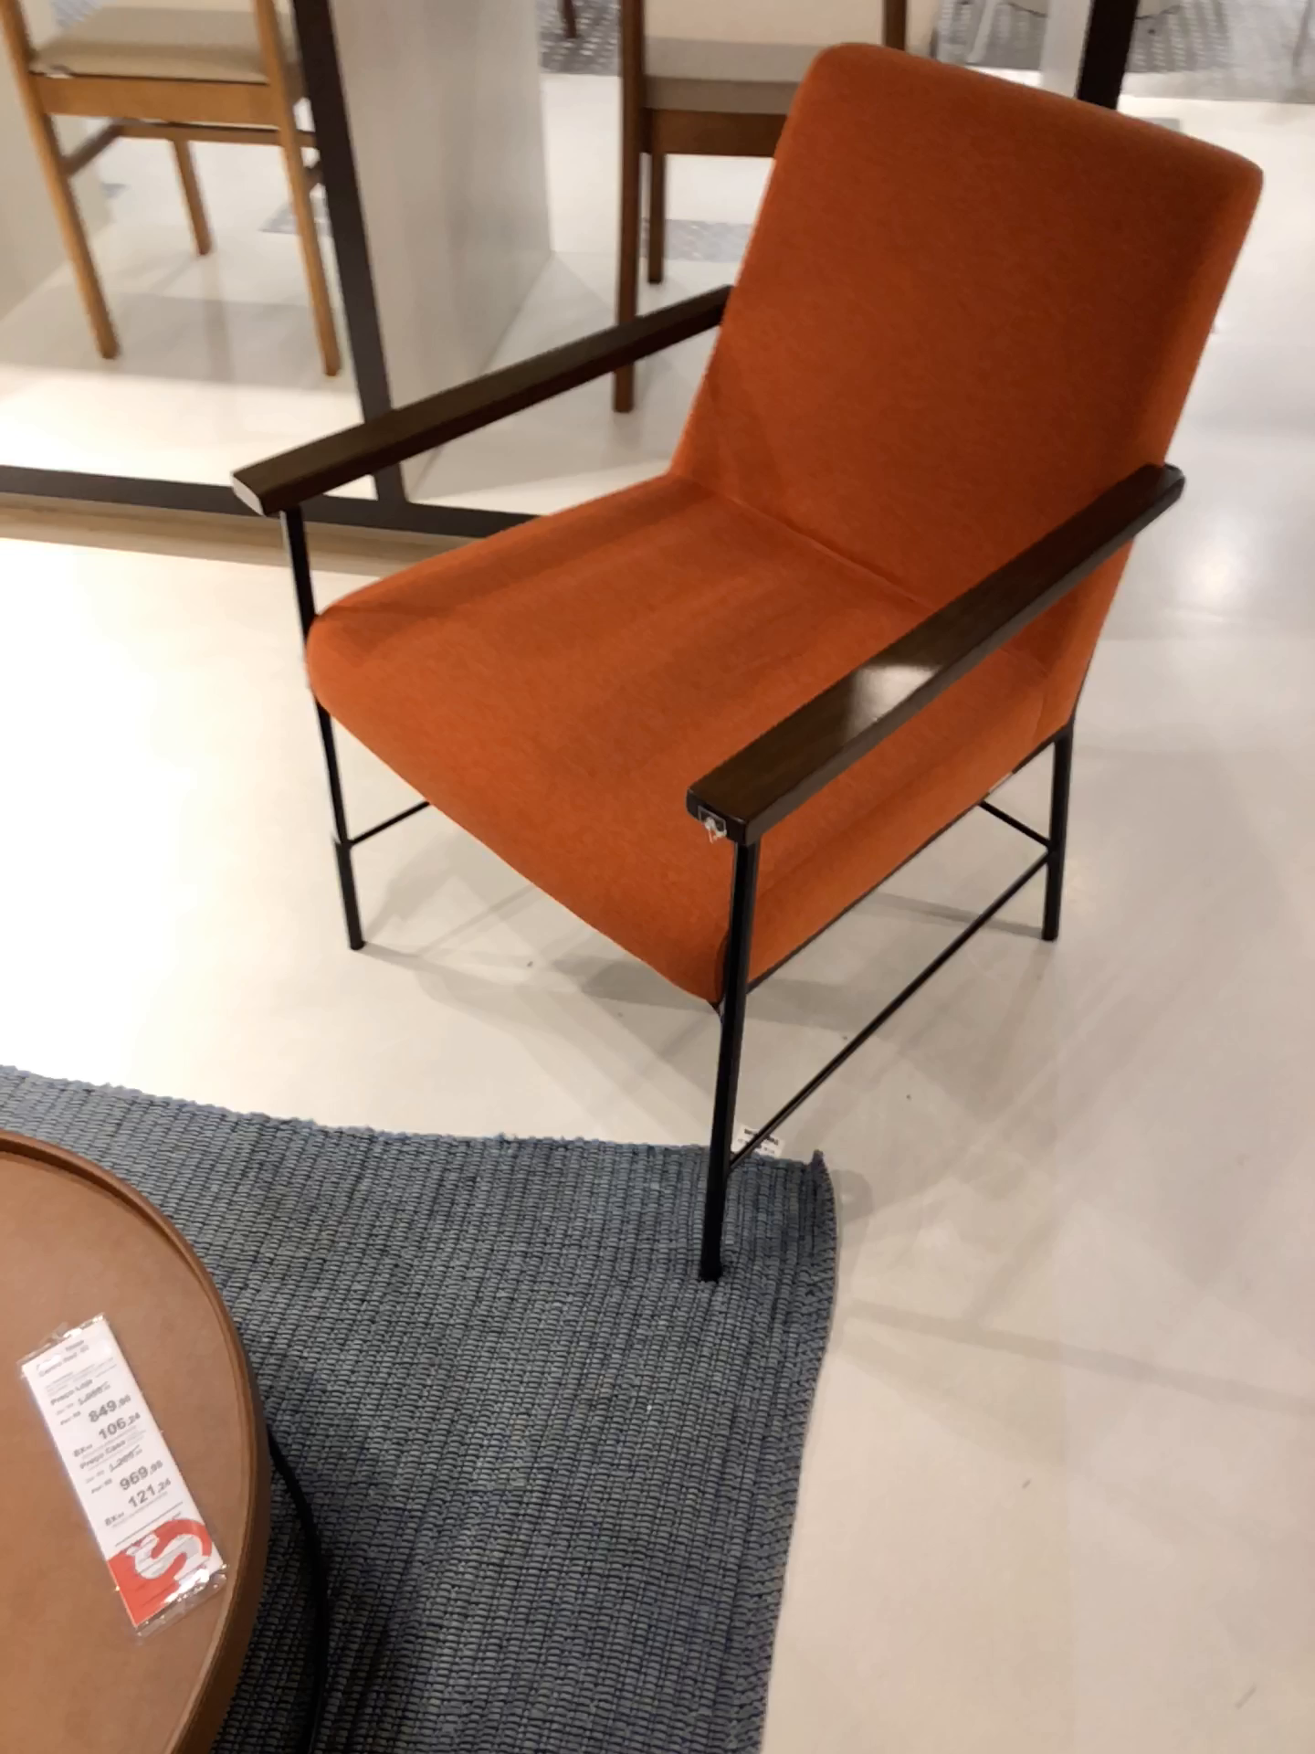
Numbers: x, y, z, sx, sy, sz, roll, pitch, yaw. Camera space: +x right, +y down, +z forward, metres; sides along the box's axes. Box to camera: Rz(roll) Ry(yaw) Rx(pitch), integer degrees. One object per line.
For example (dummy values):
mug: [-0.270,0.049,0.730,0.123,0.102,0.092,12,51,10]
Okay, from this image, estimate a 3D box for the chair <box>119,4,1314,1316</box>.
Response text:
chair: [0.080,-0.227,1.376,0.703,0.824,0.653,-34,54,-28]
